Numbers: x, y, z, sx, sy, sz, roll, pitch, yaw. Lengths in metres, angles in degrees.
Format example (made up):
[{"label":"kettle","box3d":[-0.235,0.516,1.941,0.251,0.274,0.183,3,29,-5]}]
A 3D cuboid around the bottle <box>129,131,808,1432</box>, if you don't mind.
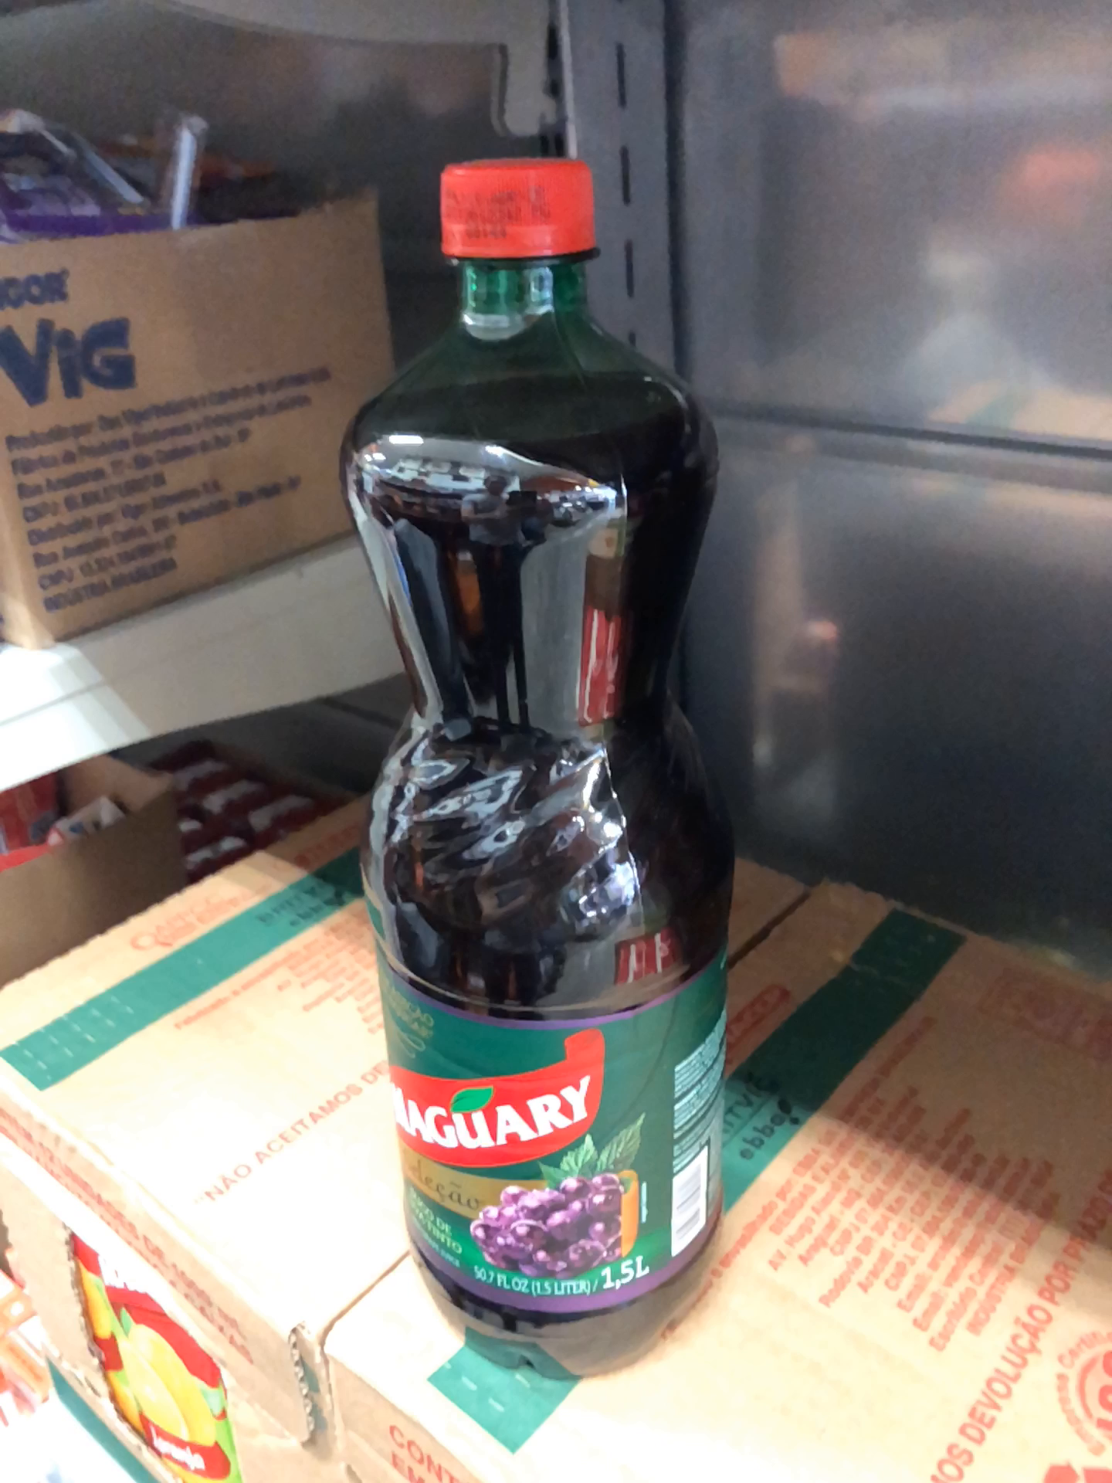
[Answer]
[{"label":"bottle","box3d":[-0.006,0.019,0.295,0.100,0.288,0.081,9,29,22]}]
